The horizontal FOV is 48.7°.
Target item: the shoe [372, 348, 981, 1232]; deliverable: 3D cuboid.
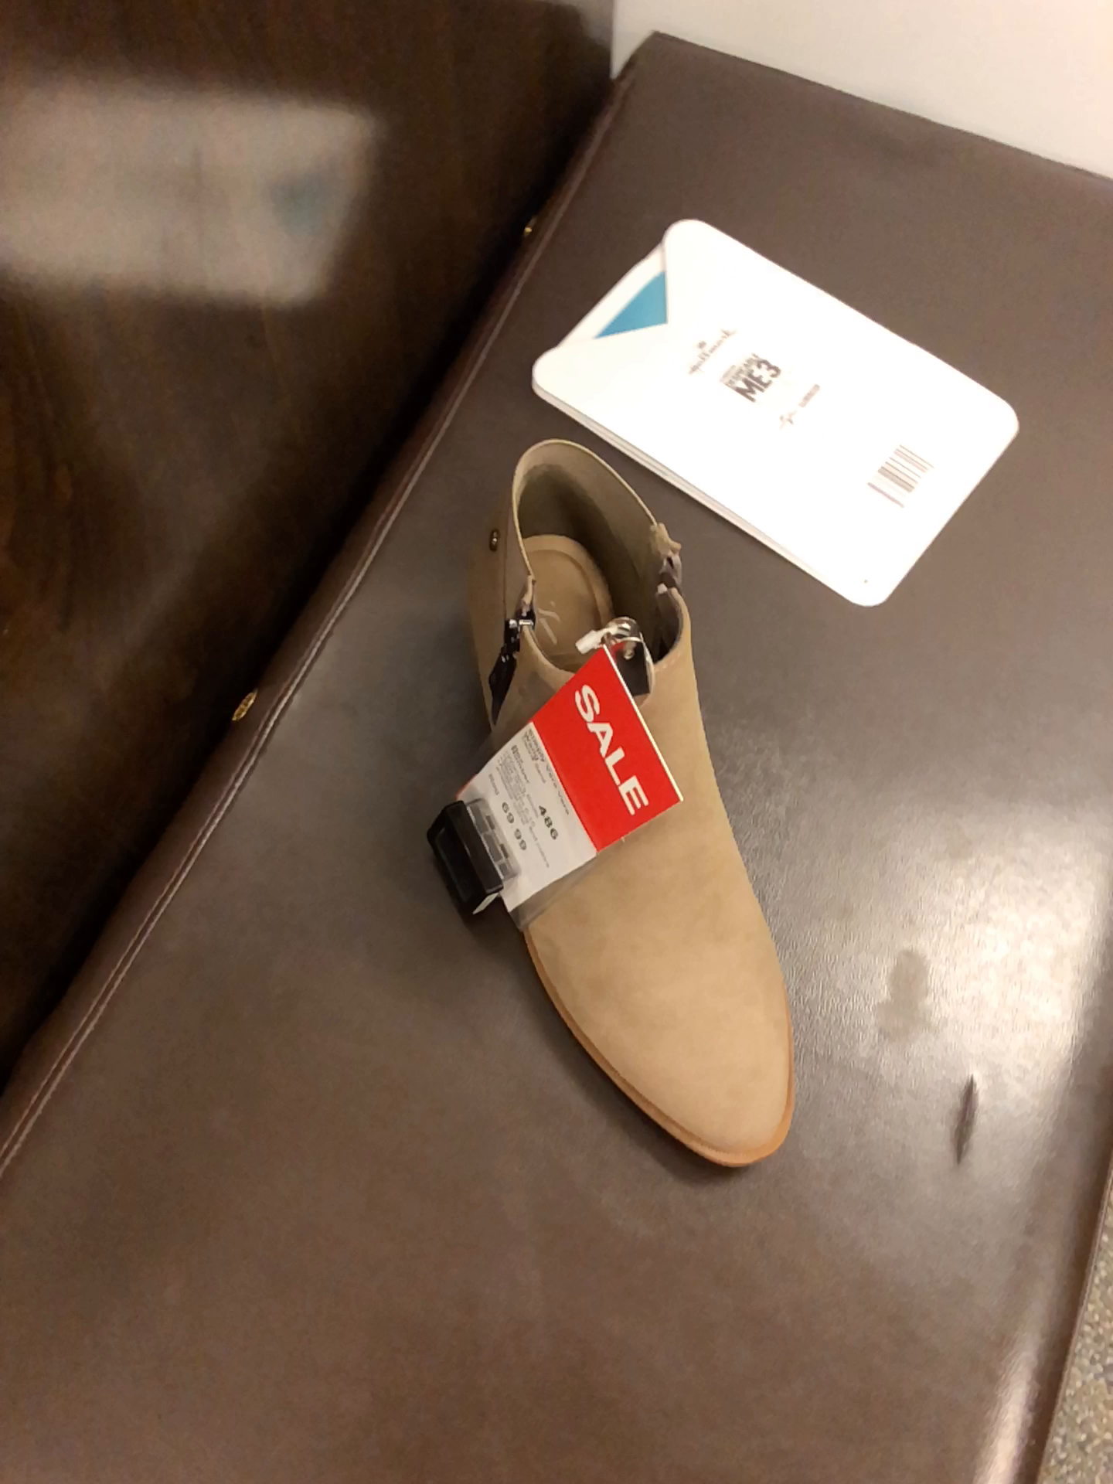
[{"bbox_3d":[0.024,0.017,0.428,0.097,0.133,0.260,-16,66,-8],"label":"shoe"}]
